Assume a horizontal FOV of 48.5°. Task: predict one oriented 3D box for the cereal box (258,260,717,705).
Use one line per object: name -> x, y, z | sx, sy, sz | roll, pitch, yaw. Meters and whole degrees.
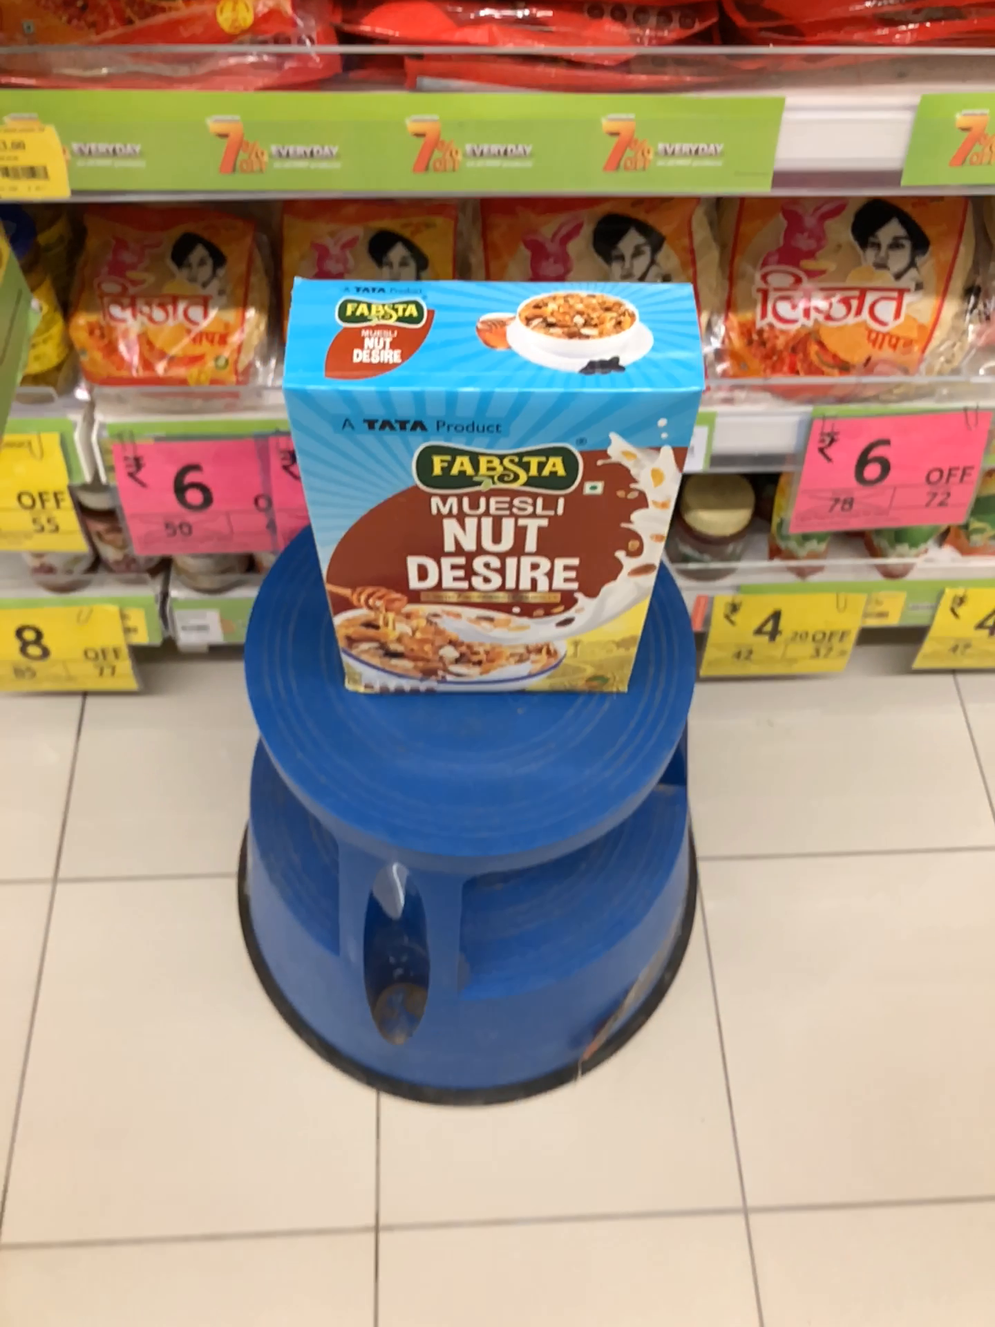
cereal box -> -0.007, -0.070, 0.534 | 0.170, 0.249, 0.070 | -1, 60, -2
